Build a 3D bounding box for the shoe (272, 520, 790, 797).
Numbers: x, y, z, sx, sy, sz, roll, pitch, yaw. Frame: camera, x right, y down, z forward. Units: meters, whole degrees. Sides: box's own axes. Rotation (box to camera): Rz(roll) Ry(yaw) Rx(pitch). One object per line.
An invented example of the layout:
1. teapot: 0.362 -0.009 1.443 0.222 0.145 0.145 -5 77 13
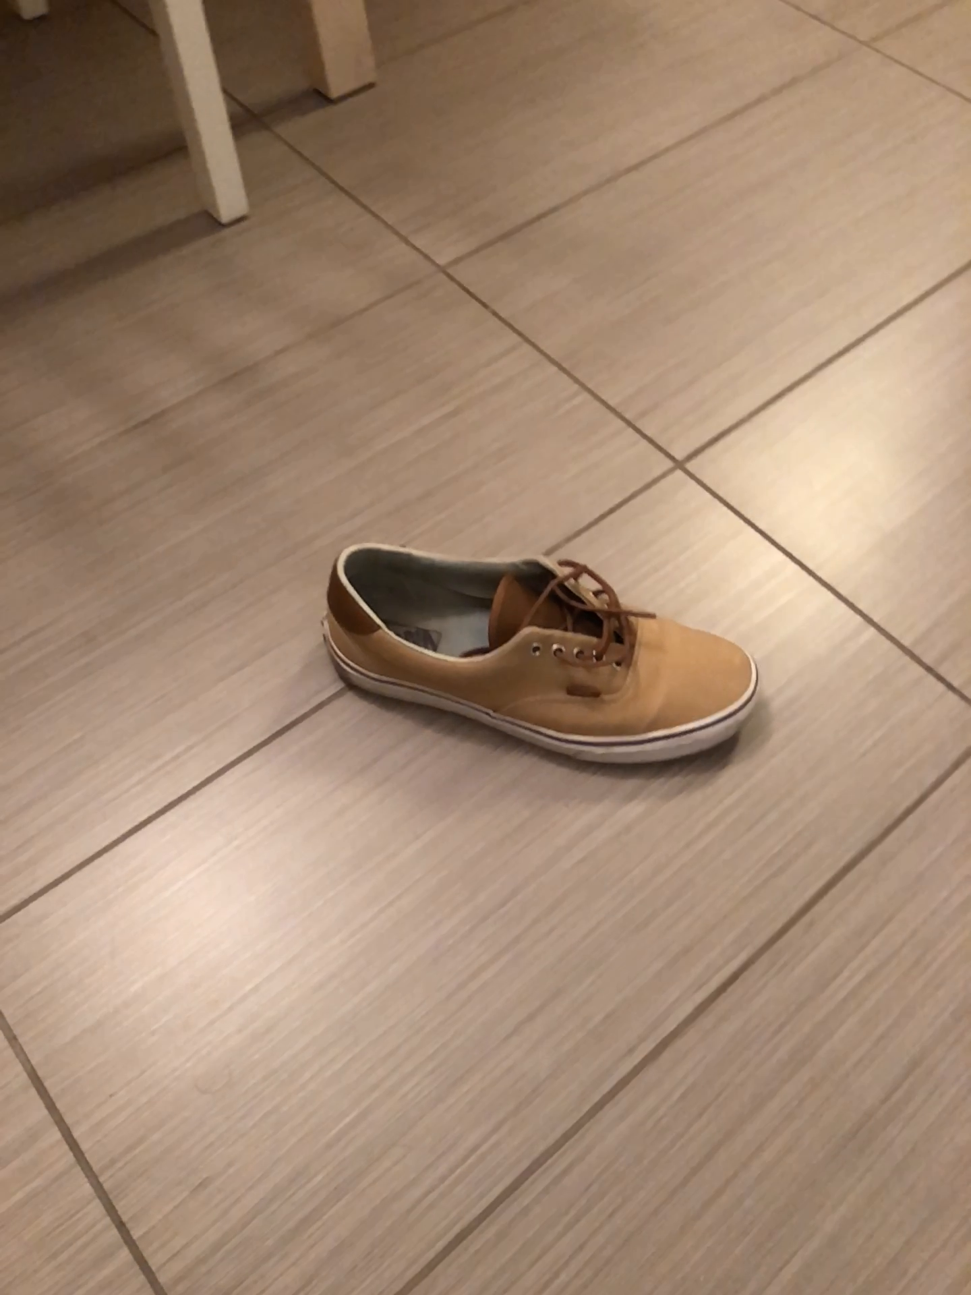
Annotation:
1. shoe: 0.032 0.005 0.698 0.310 0.070 0.110 10 58 6
